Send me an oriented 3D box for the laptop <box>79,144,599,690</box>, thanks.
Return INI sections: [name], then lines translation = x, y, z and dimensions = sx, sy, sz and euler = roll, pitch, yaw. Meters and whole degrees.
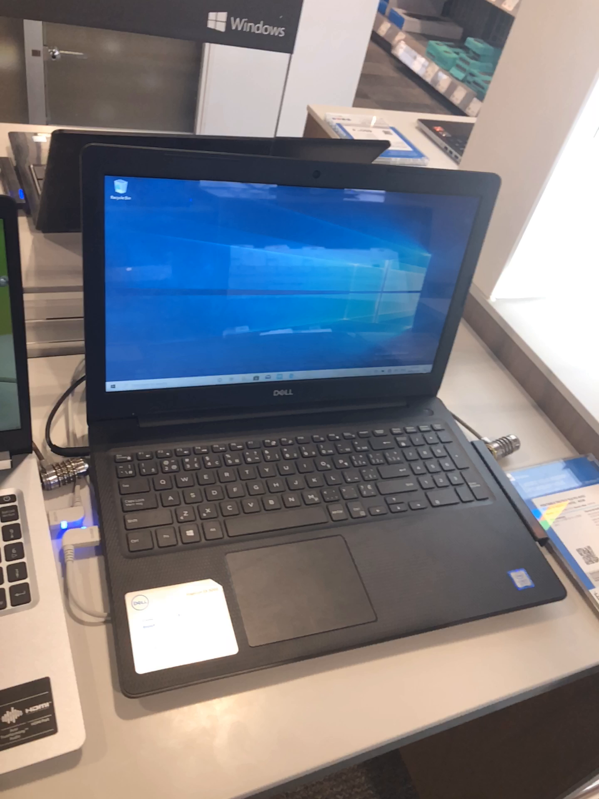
[laptop]
translation = 0.032, -0.010, 0.530
dimensions = 0.368, 0.230, 0.310
euler = -4, 45, -22
